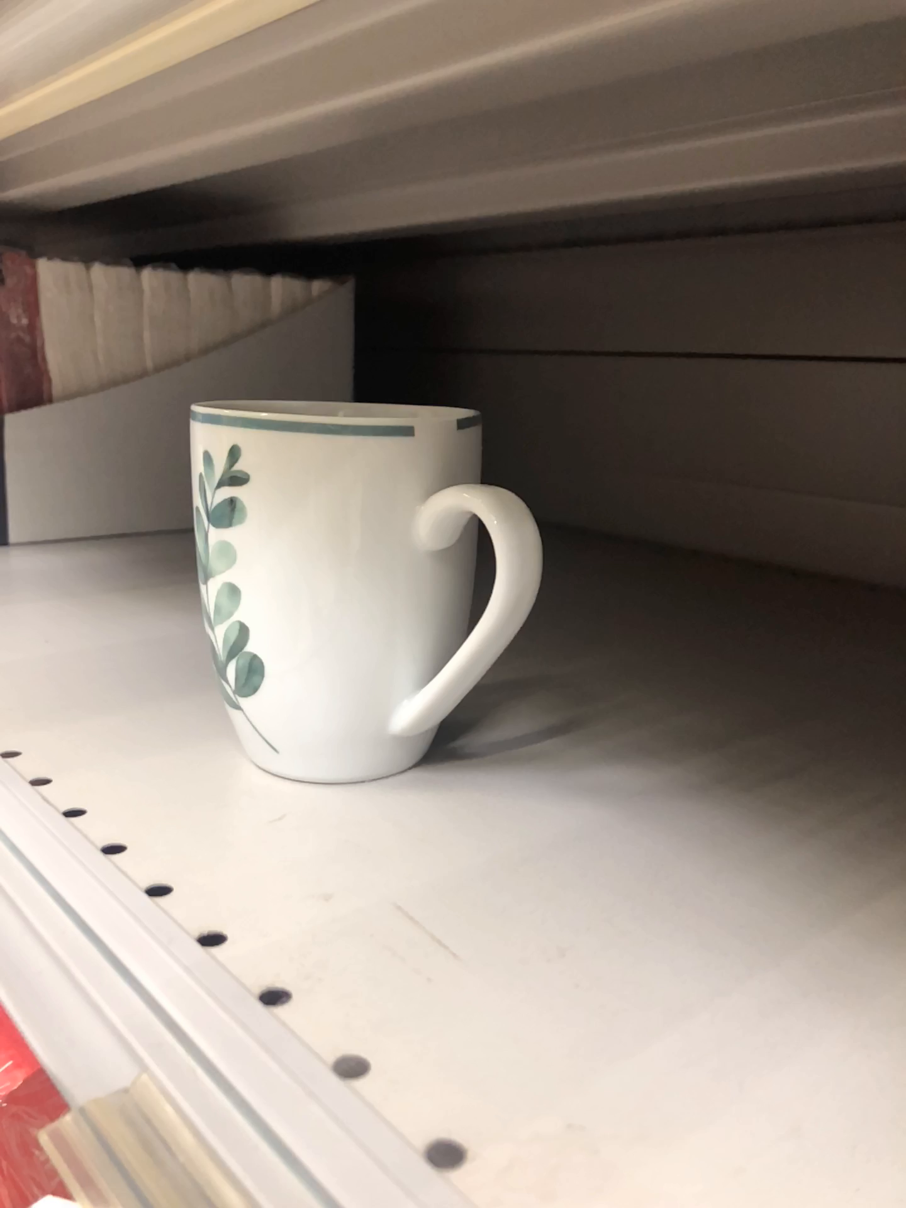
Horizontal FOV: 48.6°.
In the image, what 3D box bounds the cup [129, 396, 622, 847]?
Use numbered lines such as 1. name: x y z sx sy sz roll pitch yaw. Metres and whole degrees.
1. cup: -0.027 -0.008 0.282 0.082 0.093 0.116 -9 17 -37
